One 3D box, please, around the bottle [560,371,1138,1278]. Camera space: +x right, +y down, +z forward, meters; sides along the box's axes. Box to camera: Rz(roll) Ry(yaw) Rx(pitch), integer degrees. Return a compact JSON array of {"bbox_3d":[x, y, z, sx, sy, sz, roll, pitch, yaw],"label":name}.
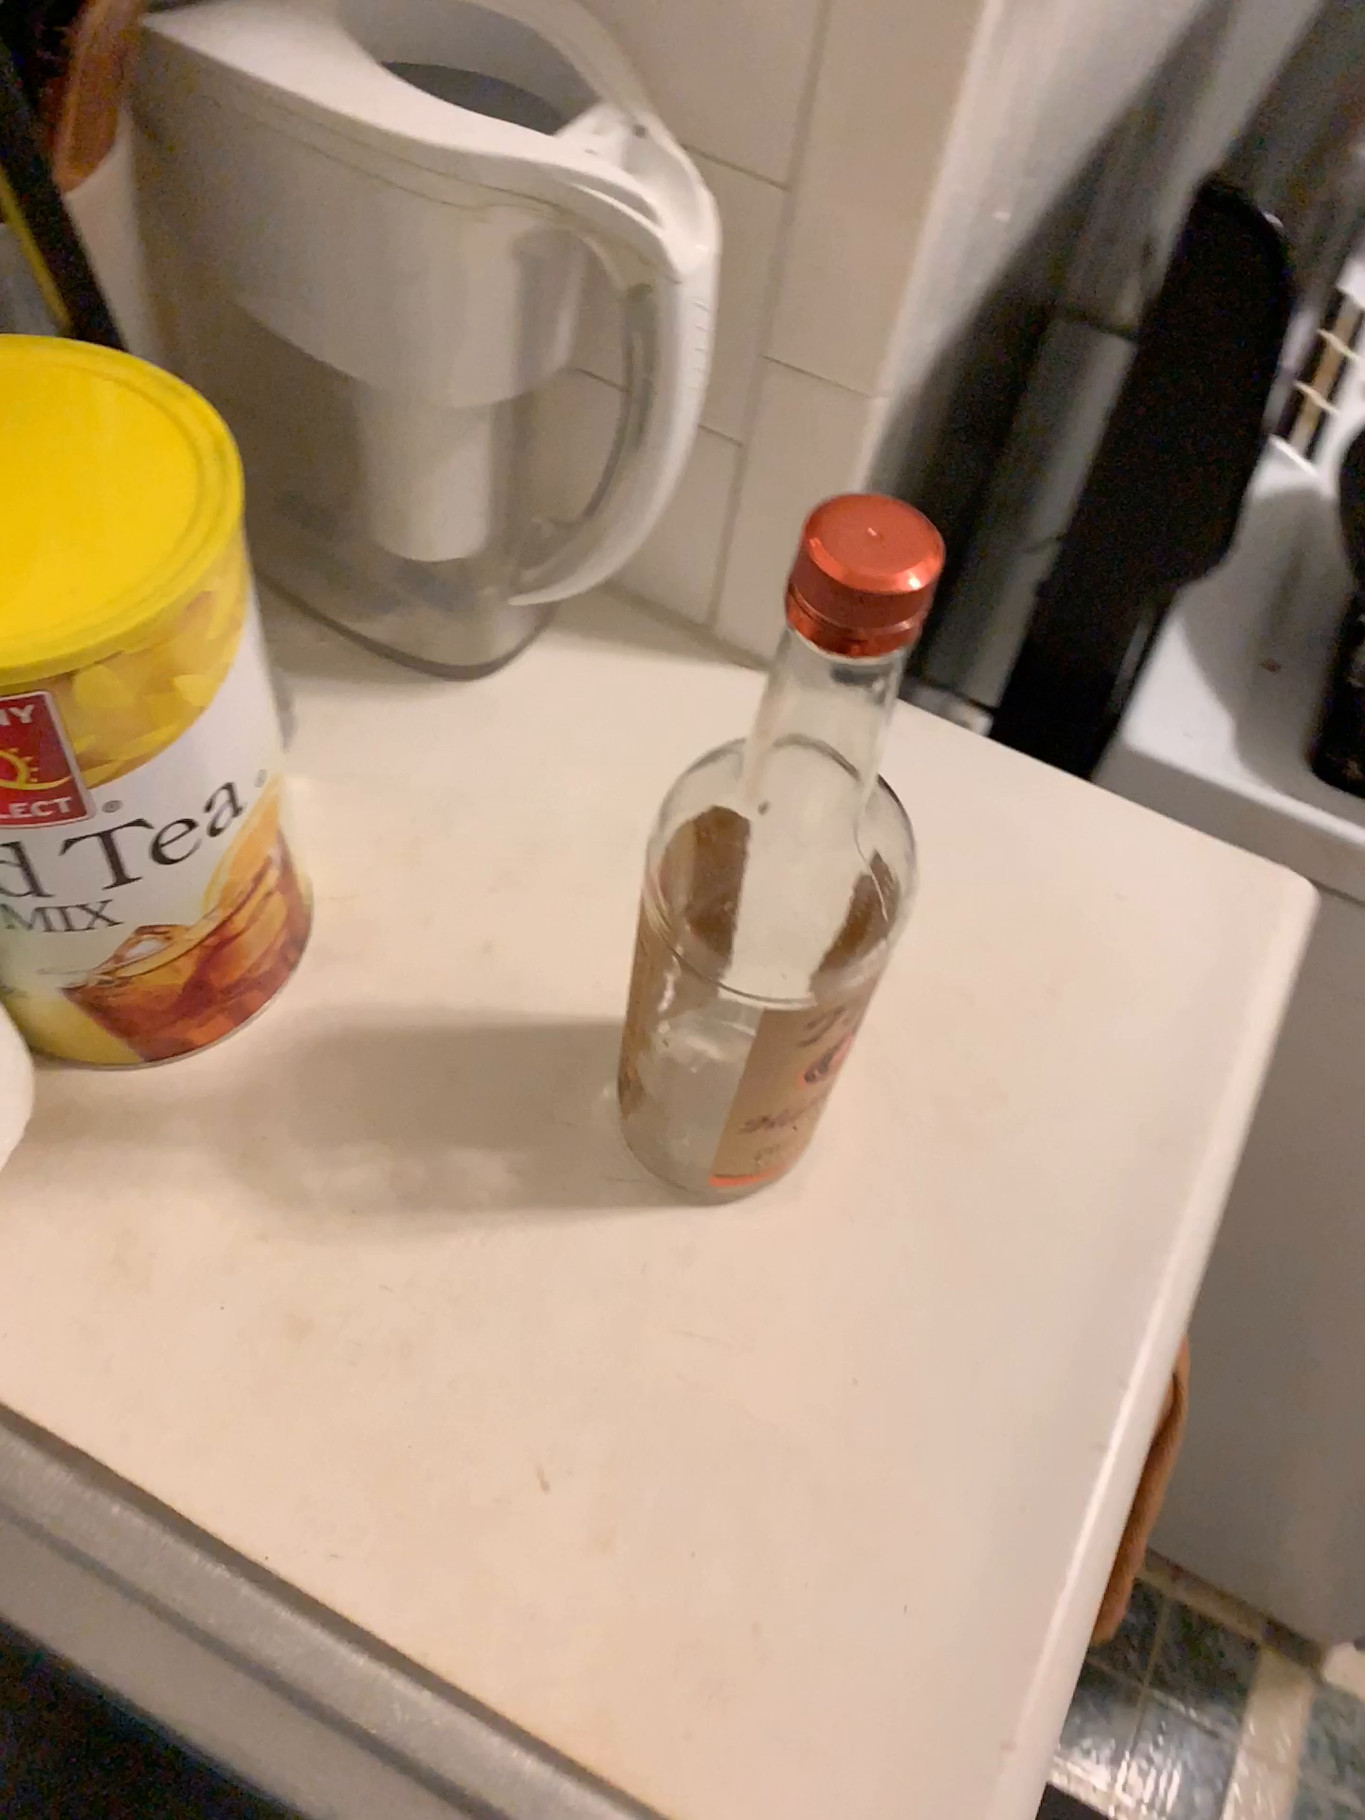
[{"bbox_3d":[0.027,0.003,0.413,0.080,0.289,0.080,4,55,-5],"label":"bottle"}]
